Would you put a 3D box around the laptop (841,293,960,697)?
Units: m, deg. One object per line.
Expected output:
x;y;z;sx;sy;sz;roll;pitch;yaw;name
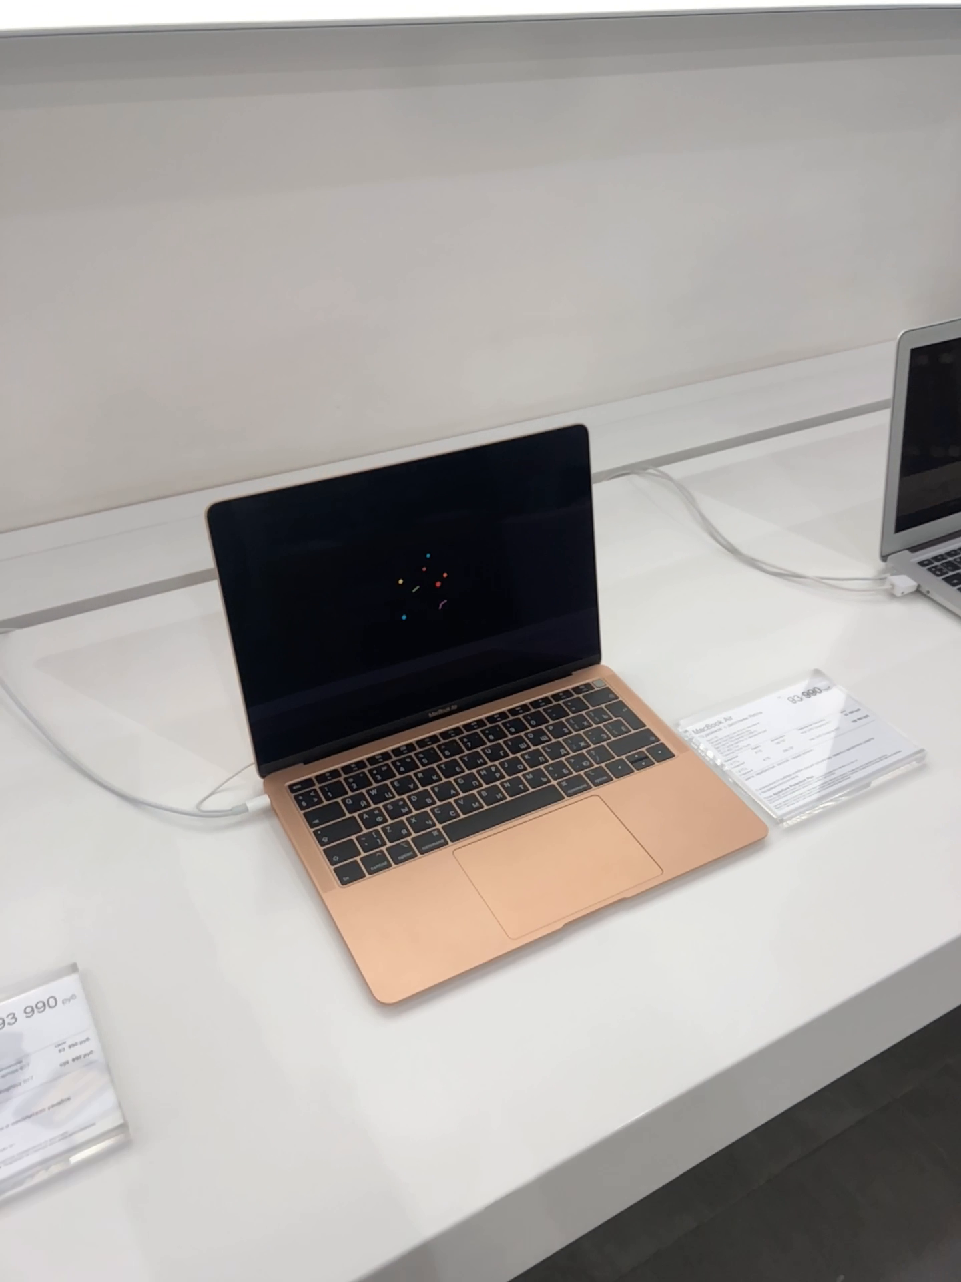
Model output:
0.593;-0.163;1.002;0.363;0.209;0.283;-17;40;-26;laptop

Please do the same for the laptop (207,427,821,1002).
0.009;0.023;0.714;0.297;0.188;0.264;-16;41;-24;laptop
